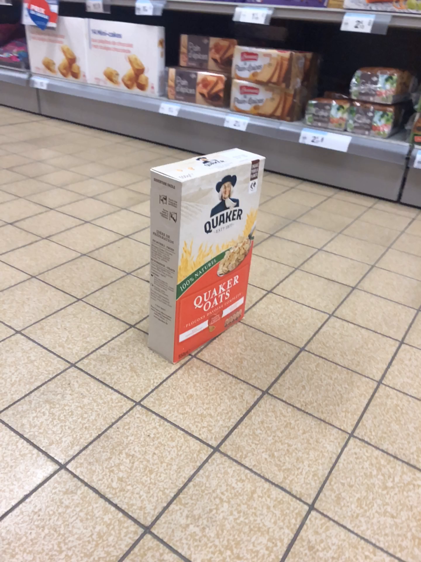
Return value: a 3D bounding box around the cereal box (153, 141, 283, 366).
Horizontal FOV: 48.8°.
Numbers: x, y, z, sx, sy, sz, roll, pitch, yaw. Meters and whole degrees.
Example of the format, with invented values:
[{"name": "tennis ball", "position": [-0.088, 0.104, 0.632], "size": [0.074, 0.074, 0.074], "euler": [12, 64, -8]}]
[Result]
[{"name": "cereal box", "position": [0.007, -0.035, 0.549], "size": [0.050, 0.229, 0.151], "euler": [26, 35, 34]}]
